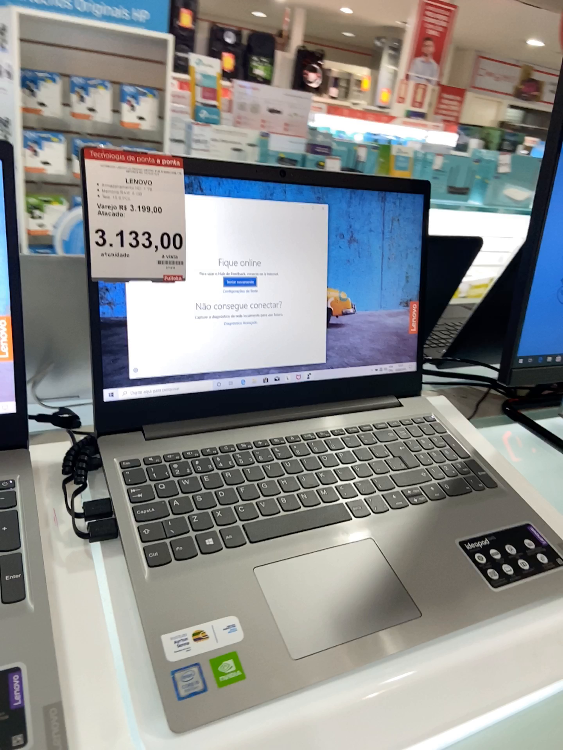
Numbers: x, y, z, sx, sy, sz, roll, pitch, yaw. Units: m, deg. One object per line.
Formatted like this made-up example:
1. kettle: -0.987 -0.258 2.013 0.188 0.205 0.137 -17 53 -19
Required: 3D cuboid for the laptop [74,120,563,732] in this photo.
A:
1. laptop: 0.044 -0.024 0.484 0.363 0.224 0.361 -5 34 -27
